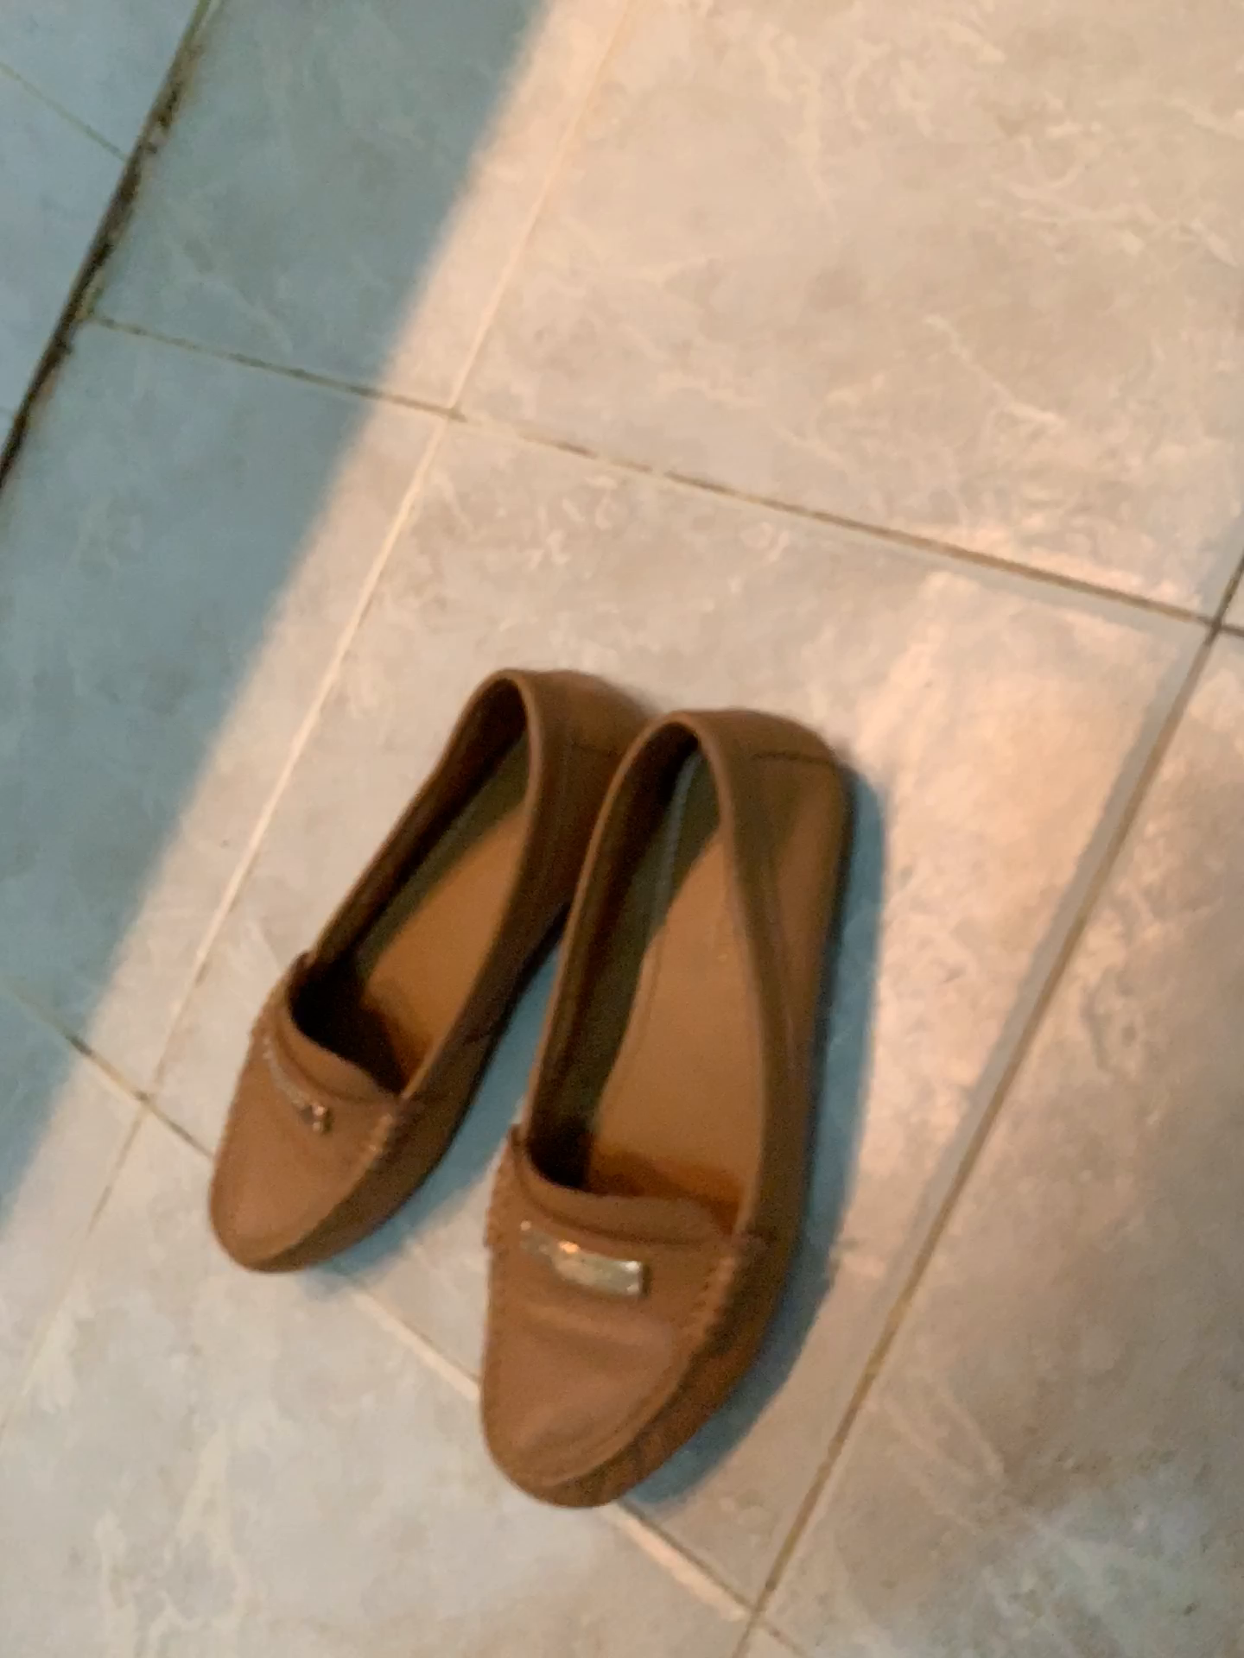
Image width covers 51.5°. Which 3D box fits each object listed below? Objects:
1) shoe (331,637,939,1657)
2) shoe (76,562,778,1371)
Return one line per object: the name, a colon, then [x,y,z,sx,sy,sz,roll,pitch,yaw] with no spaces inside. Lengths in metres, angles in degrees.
shoe: [0.007,0.078,0.359,0.085,0.071,0.242,13,86,33]
shoe: [-0.066,0.048,0.415,0.083,0.071,0.243,42,101,32]
